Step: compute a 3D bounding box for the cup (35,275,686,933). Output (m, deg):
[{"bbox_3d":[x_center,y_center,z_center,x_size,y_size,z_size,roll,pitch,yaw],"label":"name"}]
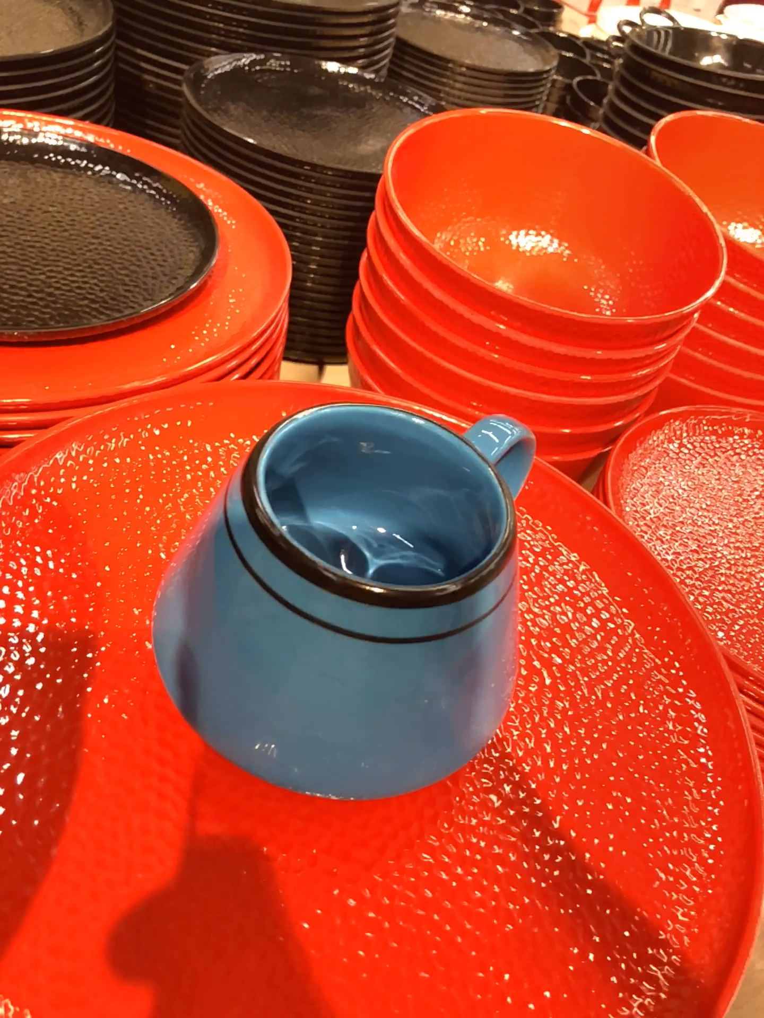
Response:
[{"bbox_3d":[-0.003,0.014,0.251,0.110,0.089,0.141,34,45,19],"label":"cup"}]
